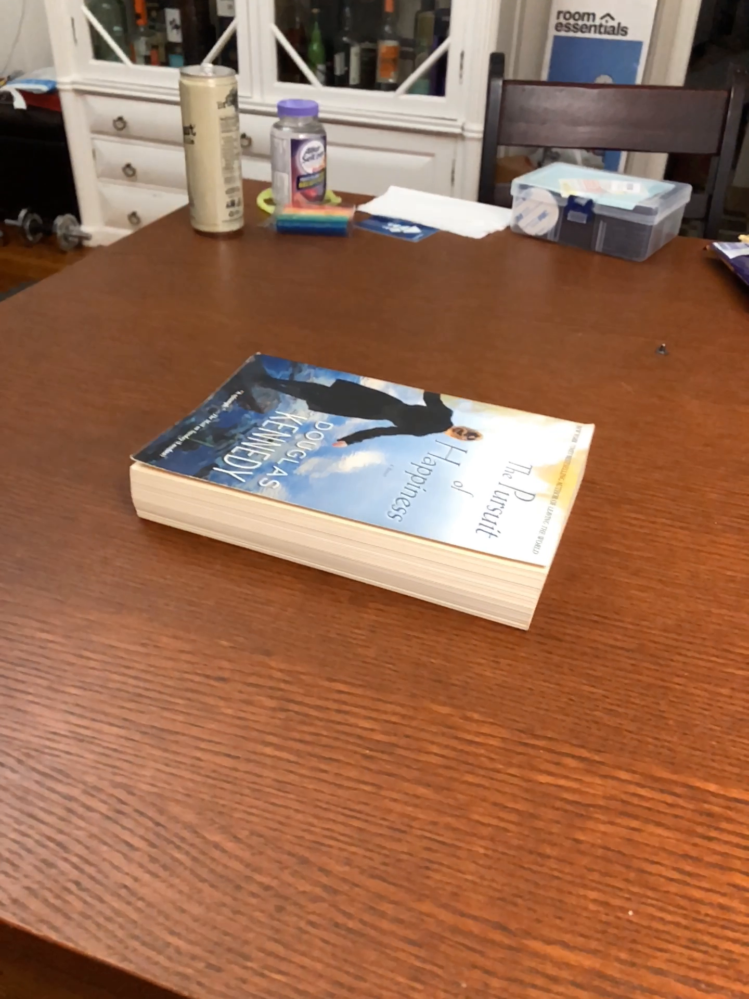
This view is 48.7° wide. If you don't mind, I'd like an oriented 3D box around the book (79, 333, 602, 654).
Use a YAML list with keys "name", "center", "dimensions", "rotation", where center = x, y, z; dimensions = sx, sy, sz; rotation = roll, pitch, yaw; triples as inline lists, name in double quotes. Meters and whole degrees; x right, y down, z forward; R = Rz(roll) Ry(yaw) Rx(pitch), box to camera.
- name: "book"
  center: [-0.010, -0.019, 0.464]
  dimensions: [0.240, 0.050, 0.161]
  rotation: [14, 37, 16]
